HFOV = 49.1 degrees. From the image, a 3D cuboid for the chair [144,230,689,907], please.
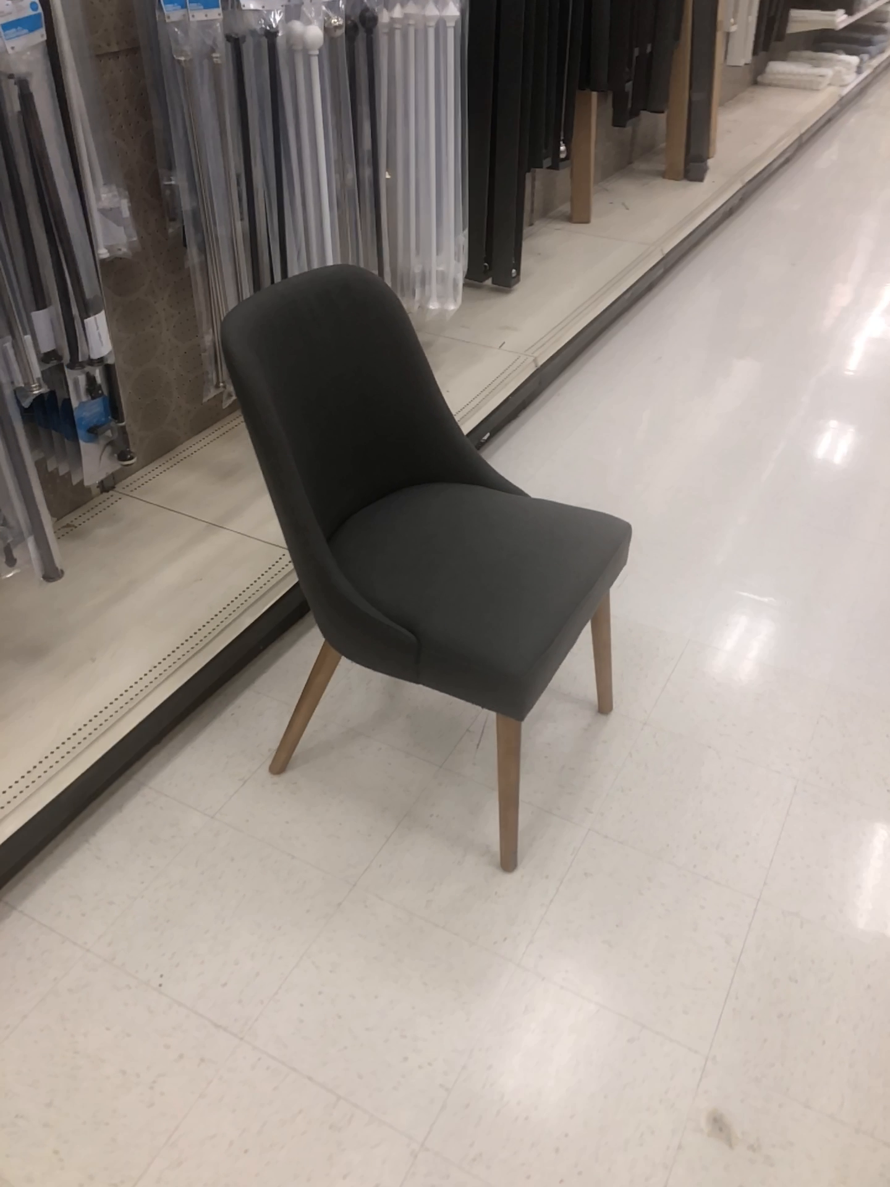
[{"bbox_3d":[-0.020,-0.056,1.621,0.587,0.859,0.516,18,40,22],"label":"chair"}]
